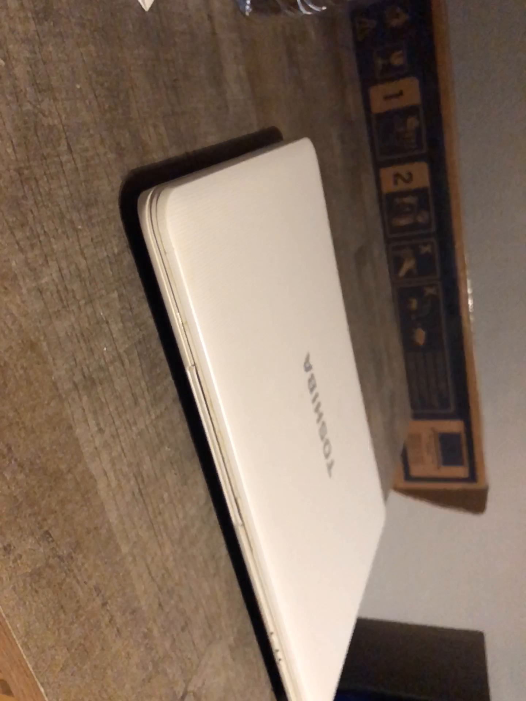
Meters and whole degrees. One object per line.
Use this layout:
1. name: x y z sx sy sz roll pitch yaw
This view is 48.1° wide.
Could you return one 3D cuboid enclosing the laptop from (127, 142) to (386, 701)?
1. laptop: 0.030 0.053 0.448 0.228 0.020 0.376 -48 129 -56
